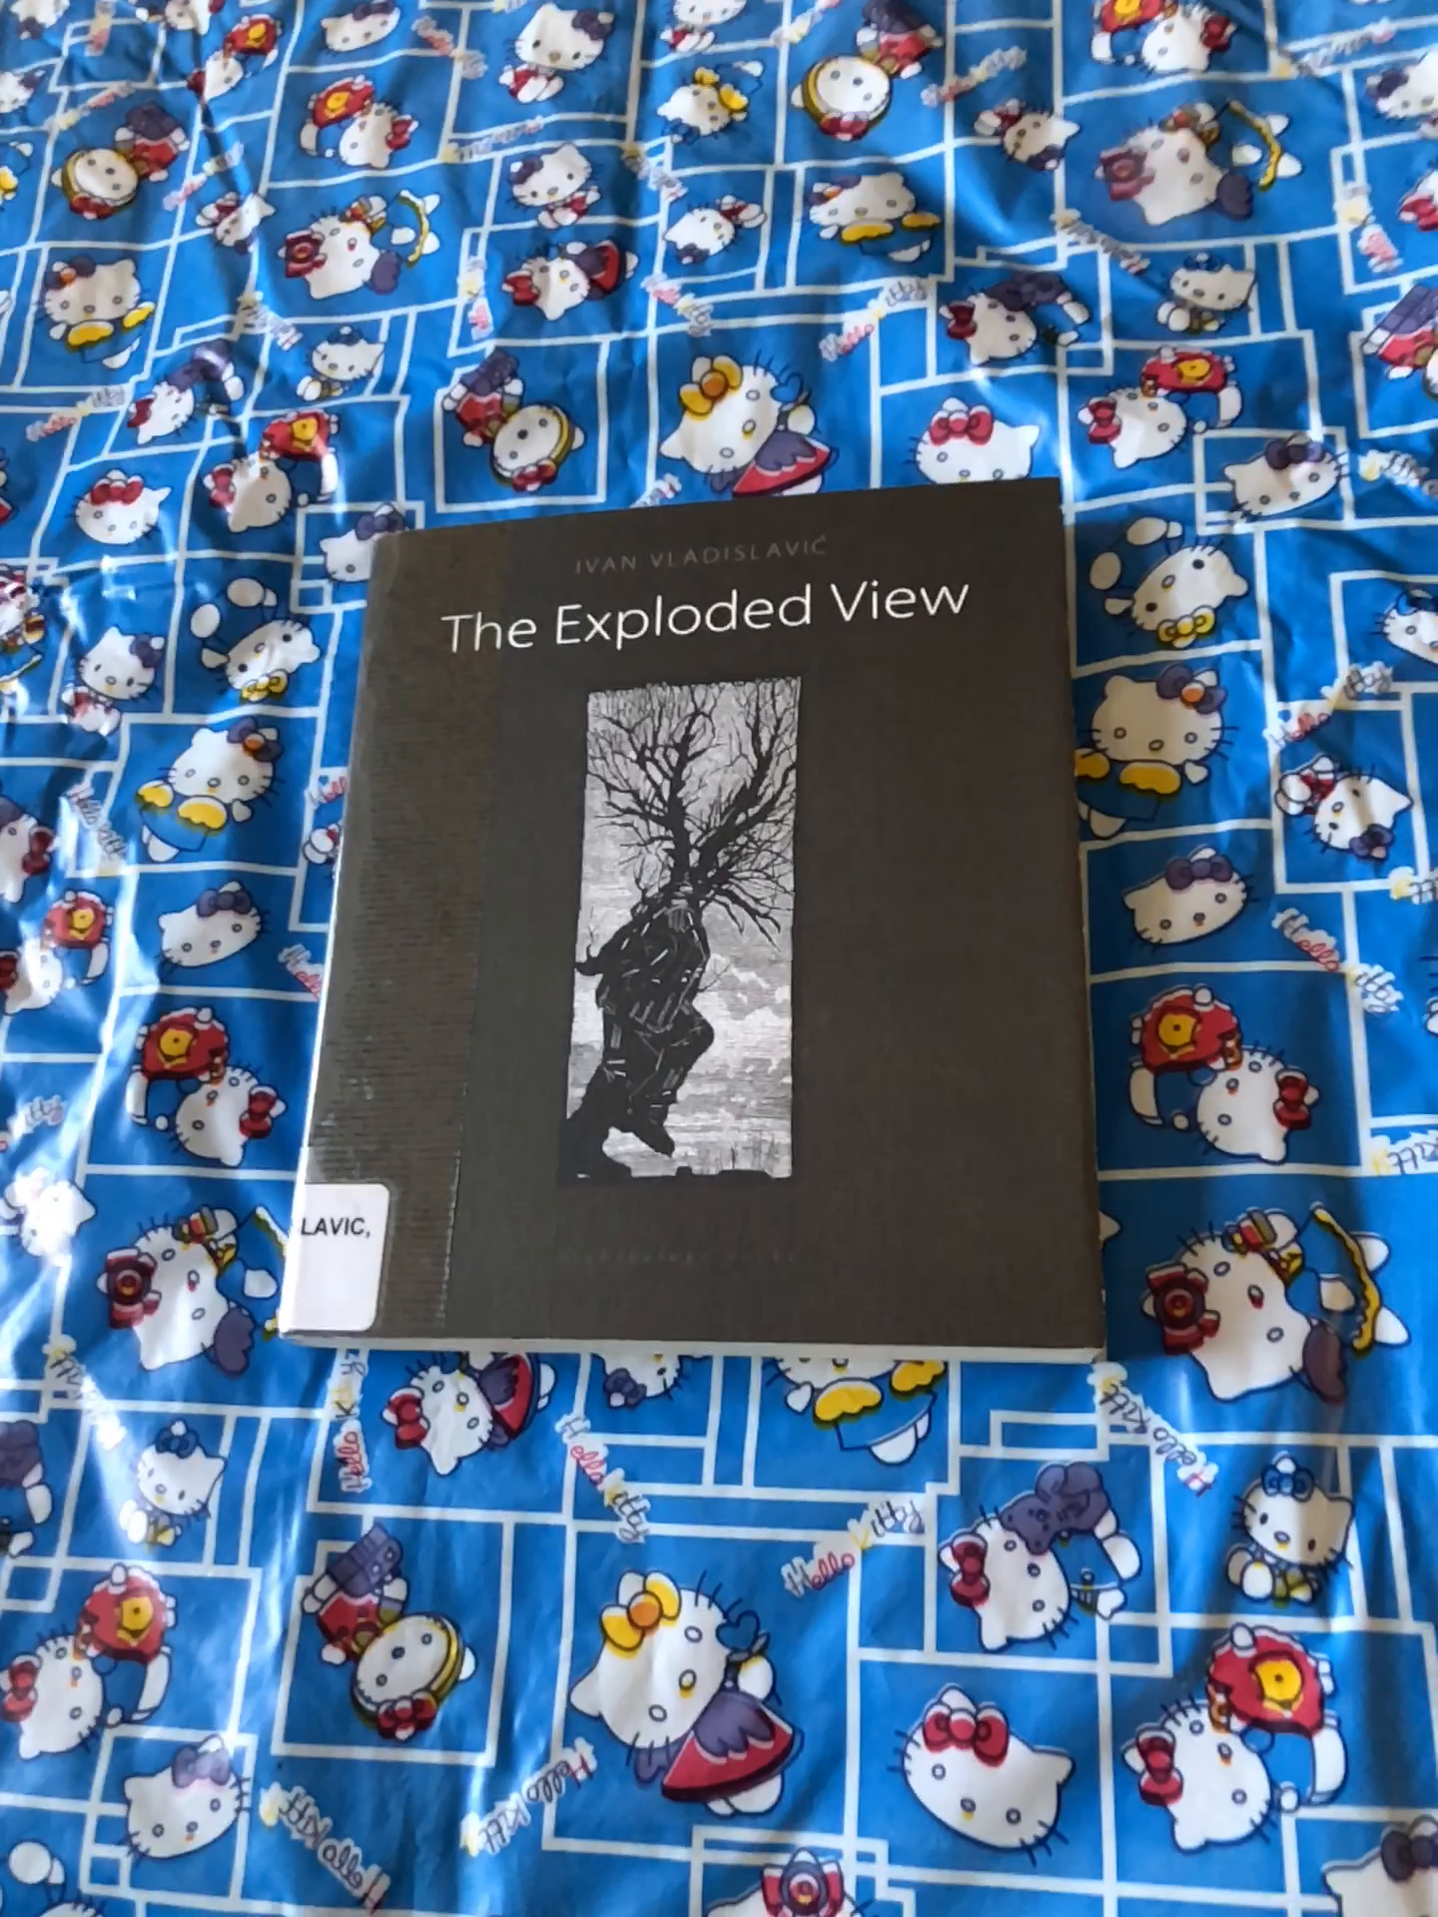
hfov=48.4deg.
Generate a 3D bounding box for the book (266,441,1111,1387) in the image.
[{"bbox_3d":[-0.003,-0.011,0.295,0.140,0.020,0.170,-1,72,11],"label":"book"}]
